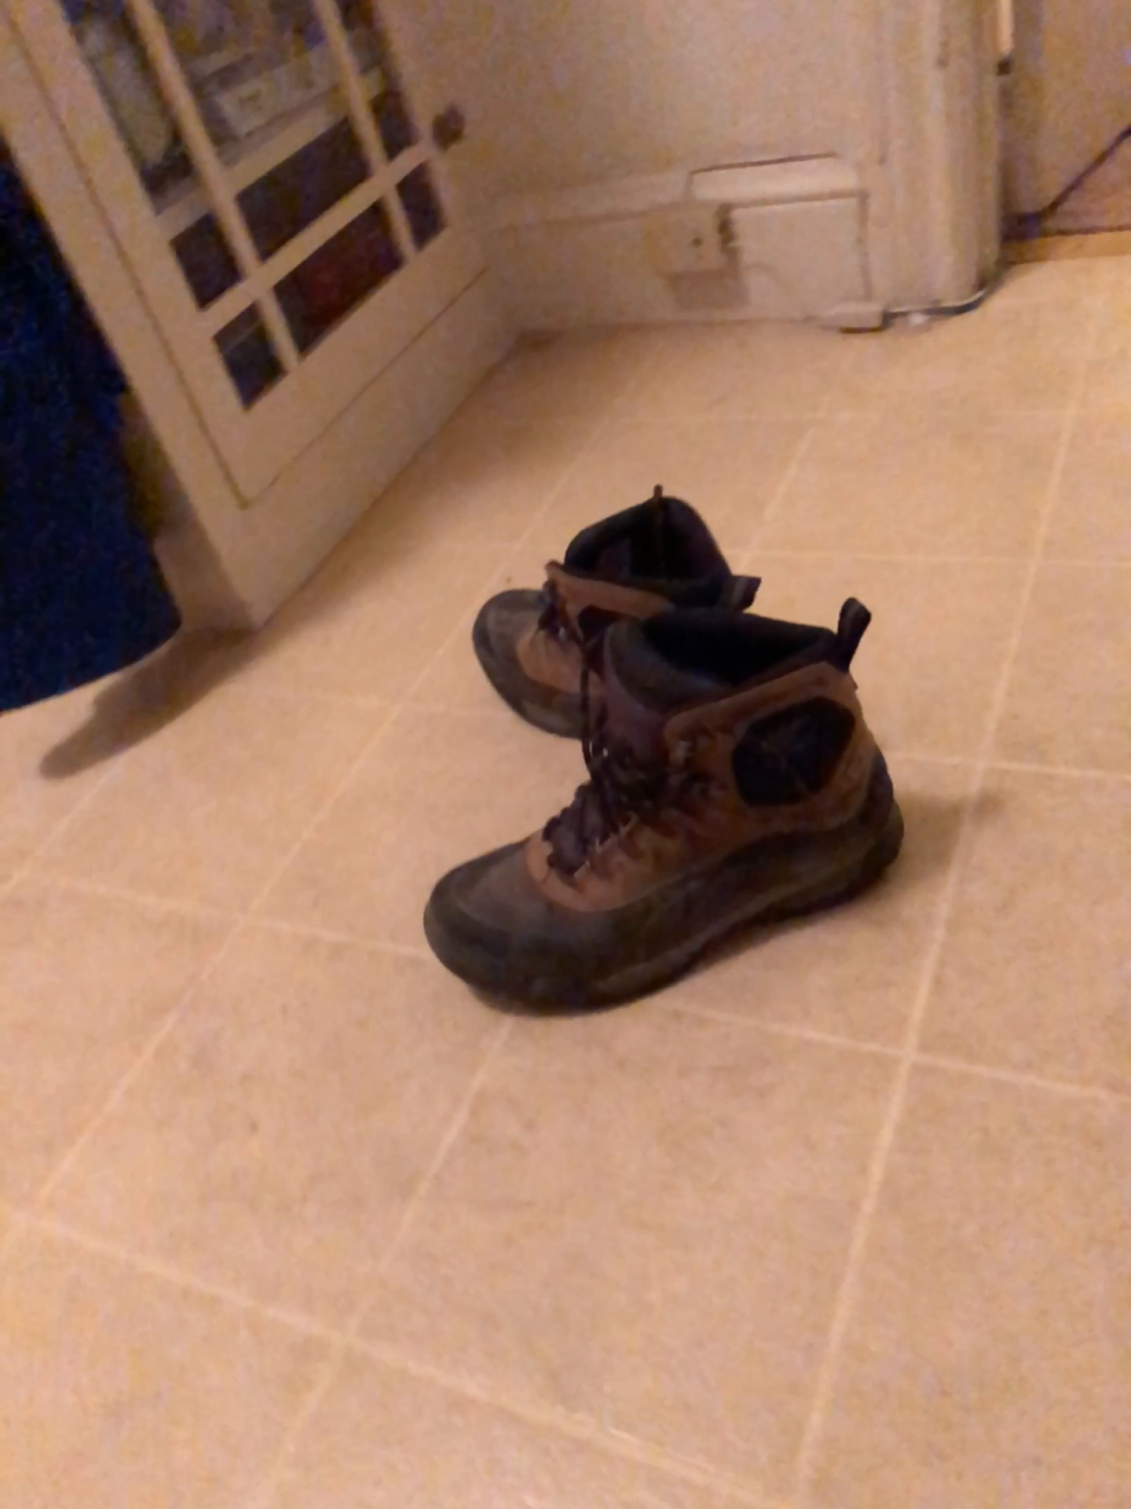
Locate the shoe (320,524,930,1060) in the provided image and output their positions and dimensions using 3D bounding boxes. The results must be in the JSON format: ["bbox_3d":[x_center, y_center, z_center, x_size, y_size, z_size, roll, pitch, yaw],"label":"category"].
[{"bbox_3d":[0.039,0.023,0.718,0.299,0.185,0.122,-20,39,-2],"label":"shoe"}]

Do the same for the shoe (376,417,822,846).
[{"bbox_3d":[0.020,-0.097,0.866,0.113,0.185,0.294,-37,42,-21],"label":"shoe"}]
